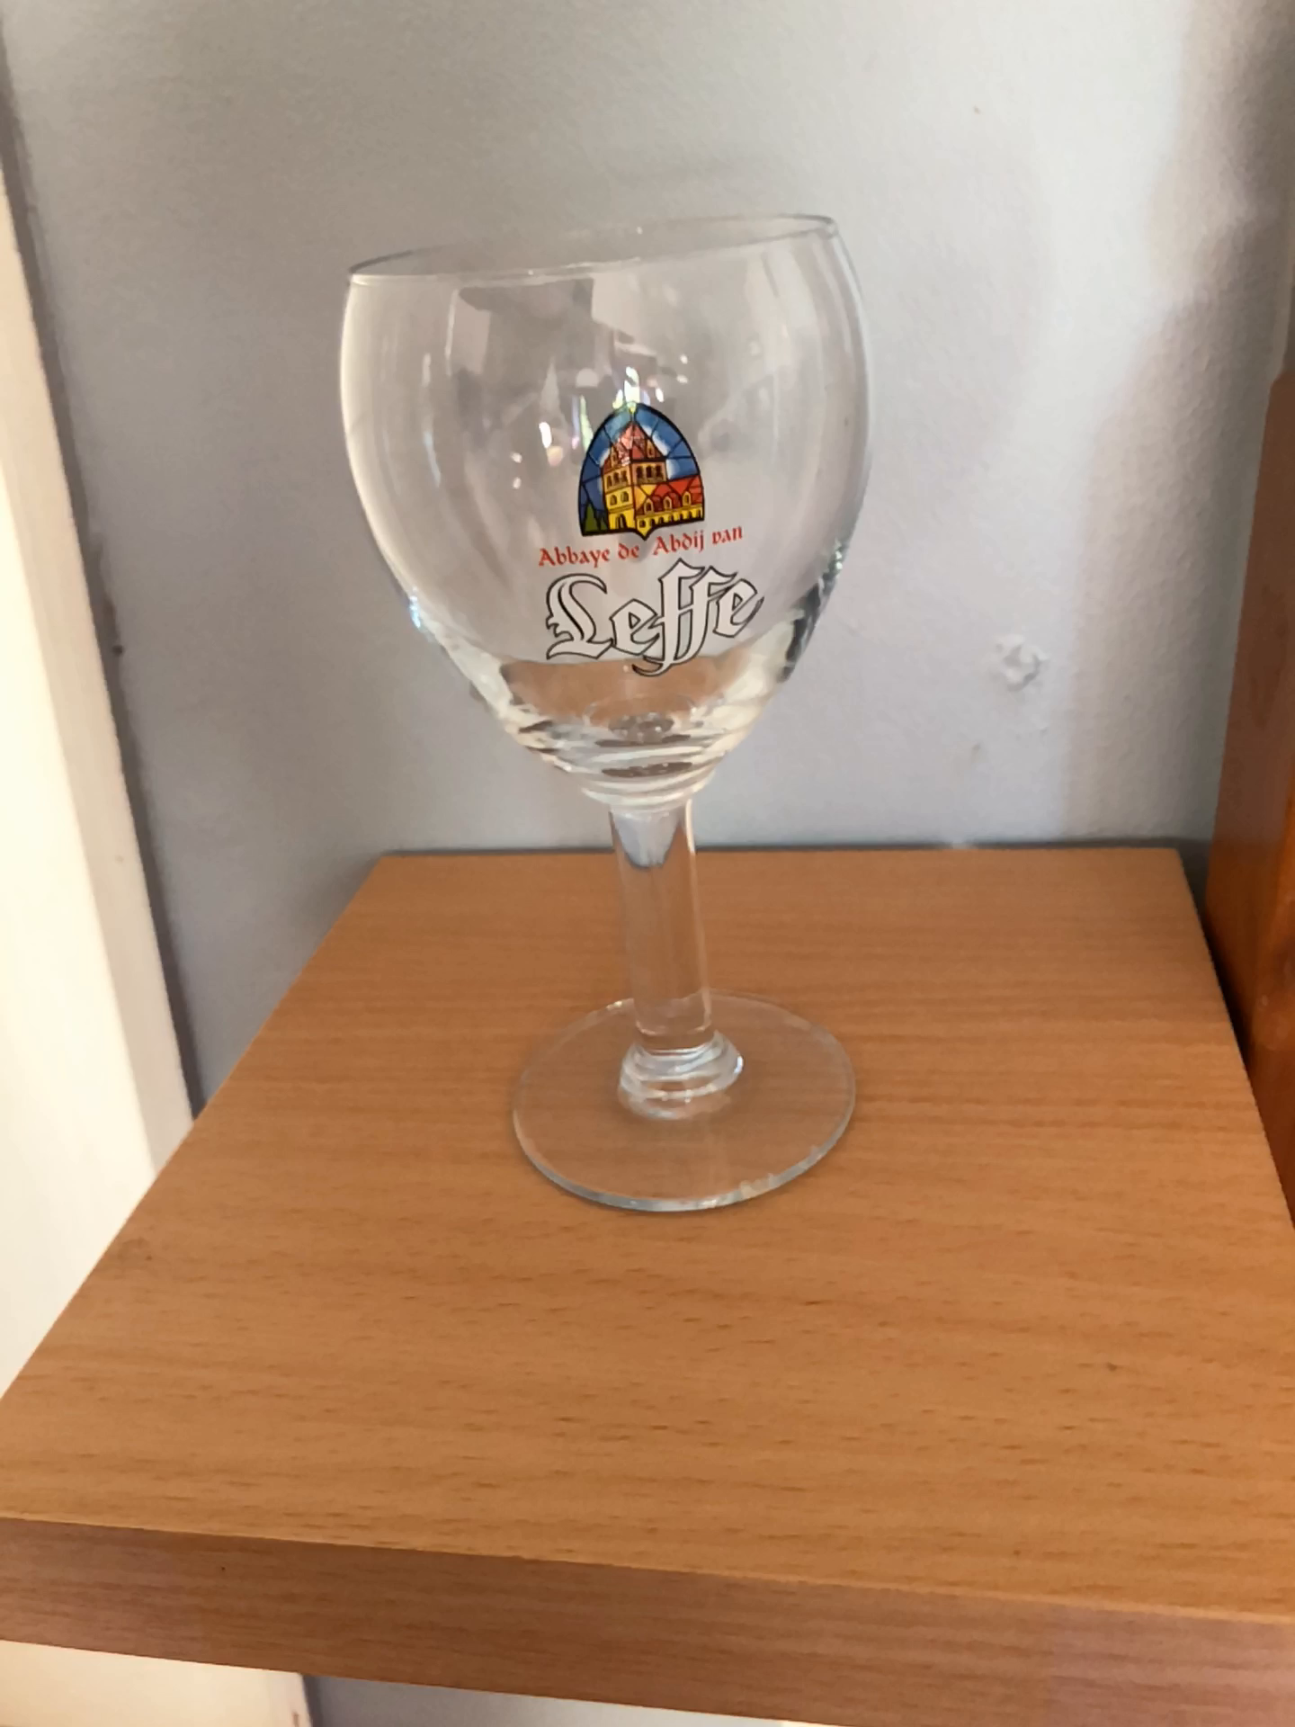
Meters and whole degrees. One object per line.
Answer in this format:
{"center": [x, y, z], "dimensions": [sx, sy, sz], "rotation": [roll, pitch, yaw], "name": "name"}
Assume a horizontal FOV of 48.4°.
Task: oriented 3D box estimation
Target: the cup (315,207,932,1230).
{"center": [-0.001, -0.034, 0.304], "dimensions": [0.095, 0.185, 0.100], "rotation": [-3, 23, 1], "name": "cup"}
